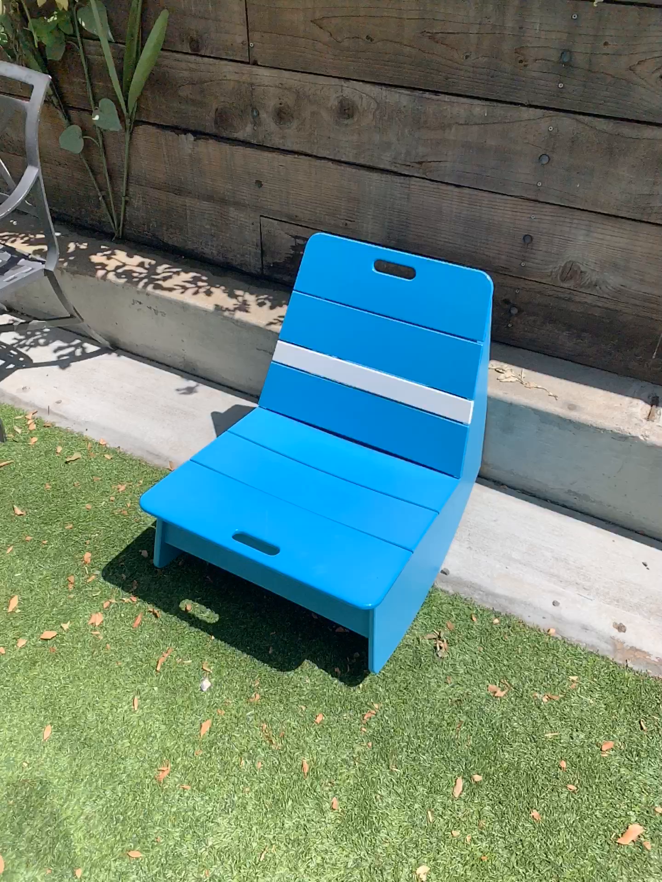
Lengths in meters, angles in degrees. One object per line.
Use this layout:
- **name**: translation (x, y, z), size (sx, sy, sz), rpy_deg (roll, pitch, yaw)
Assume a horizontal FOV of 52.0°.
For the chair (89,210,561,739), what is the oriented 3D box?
- **chair**: translation (0.030, 0.044, 1.519), size (0.592, 0.746, 0.722), rpy_deg (22, 48, 22)
